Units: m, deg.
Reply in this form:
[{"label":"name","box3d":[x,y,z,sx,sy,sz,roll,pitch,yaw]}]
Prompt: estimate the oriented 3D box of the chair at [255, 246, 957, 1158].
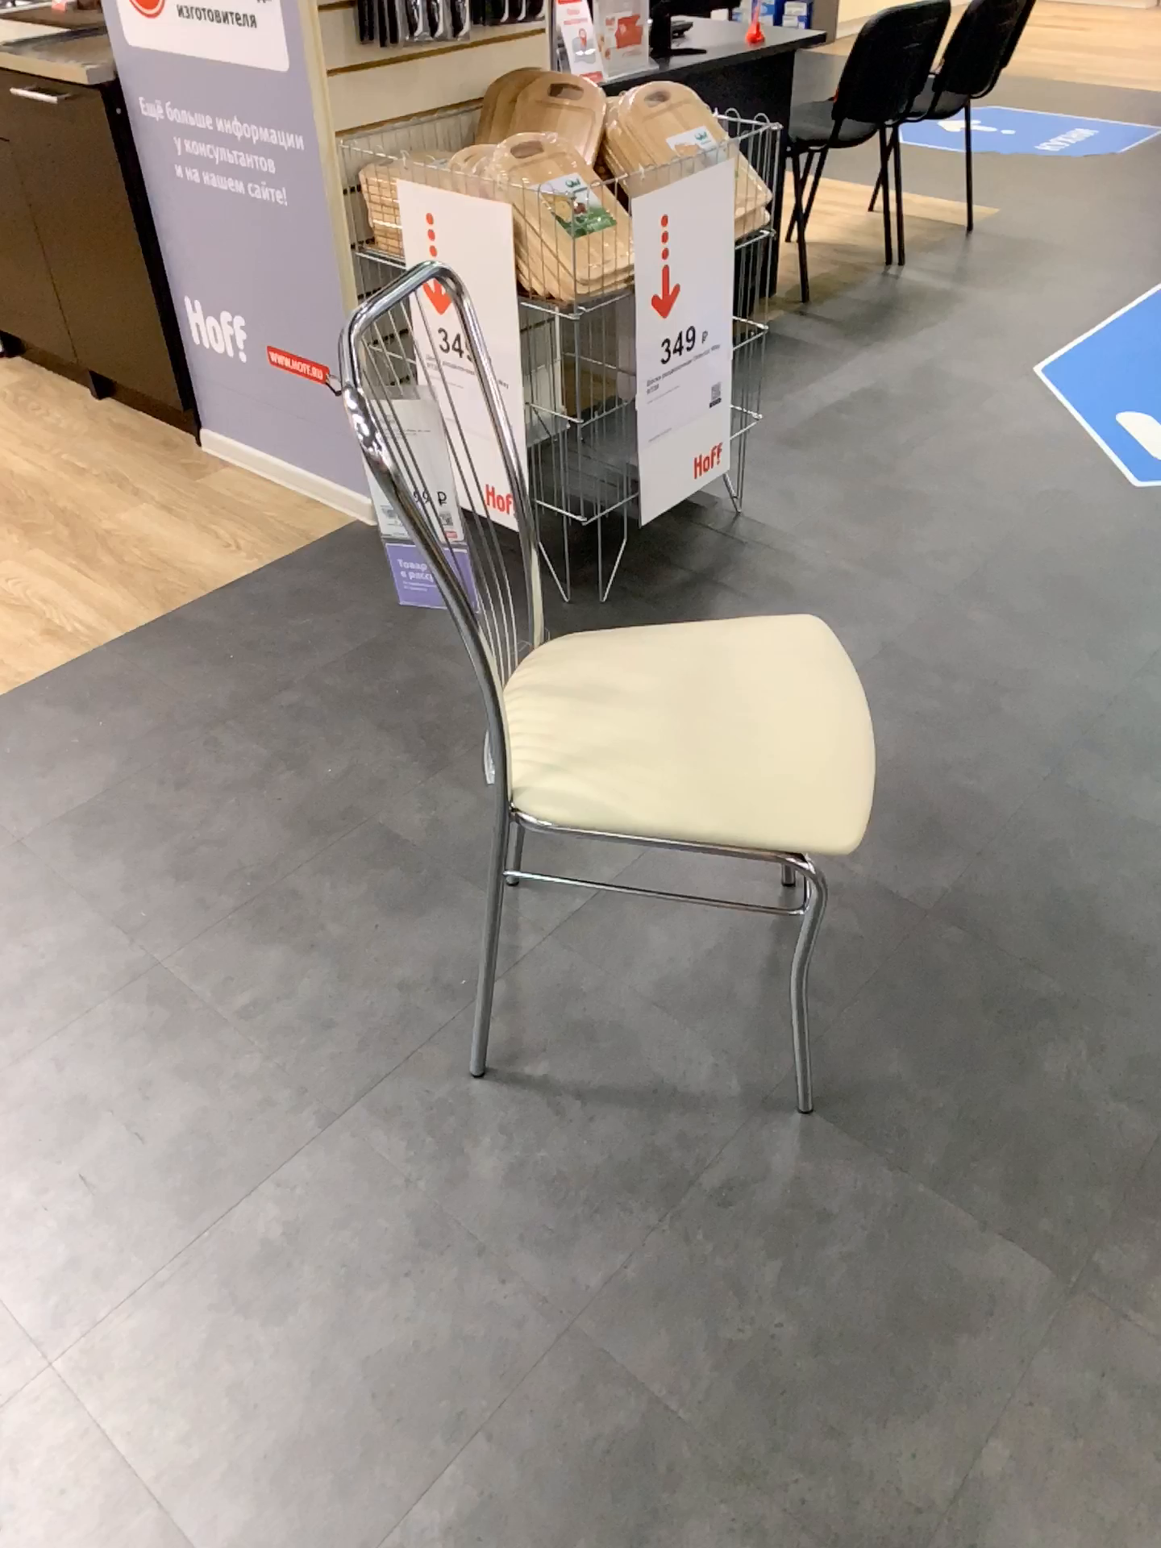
[{"label":"chair","box3d":[0.048,-0.049,1.415,0.552,0.965,0.474,3,39,6]}]
